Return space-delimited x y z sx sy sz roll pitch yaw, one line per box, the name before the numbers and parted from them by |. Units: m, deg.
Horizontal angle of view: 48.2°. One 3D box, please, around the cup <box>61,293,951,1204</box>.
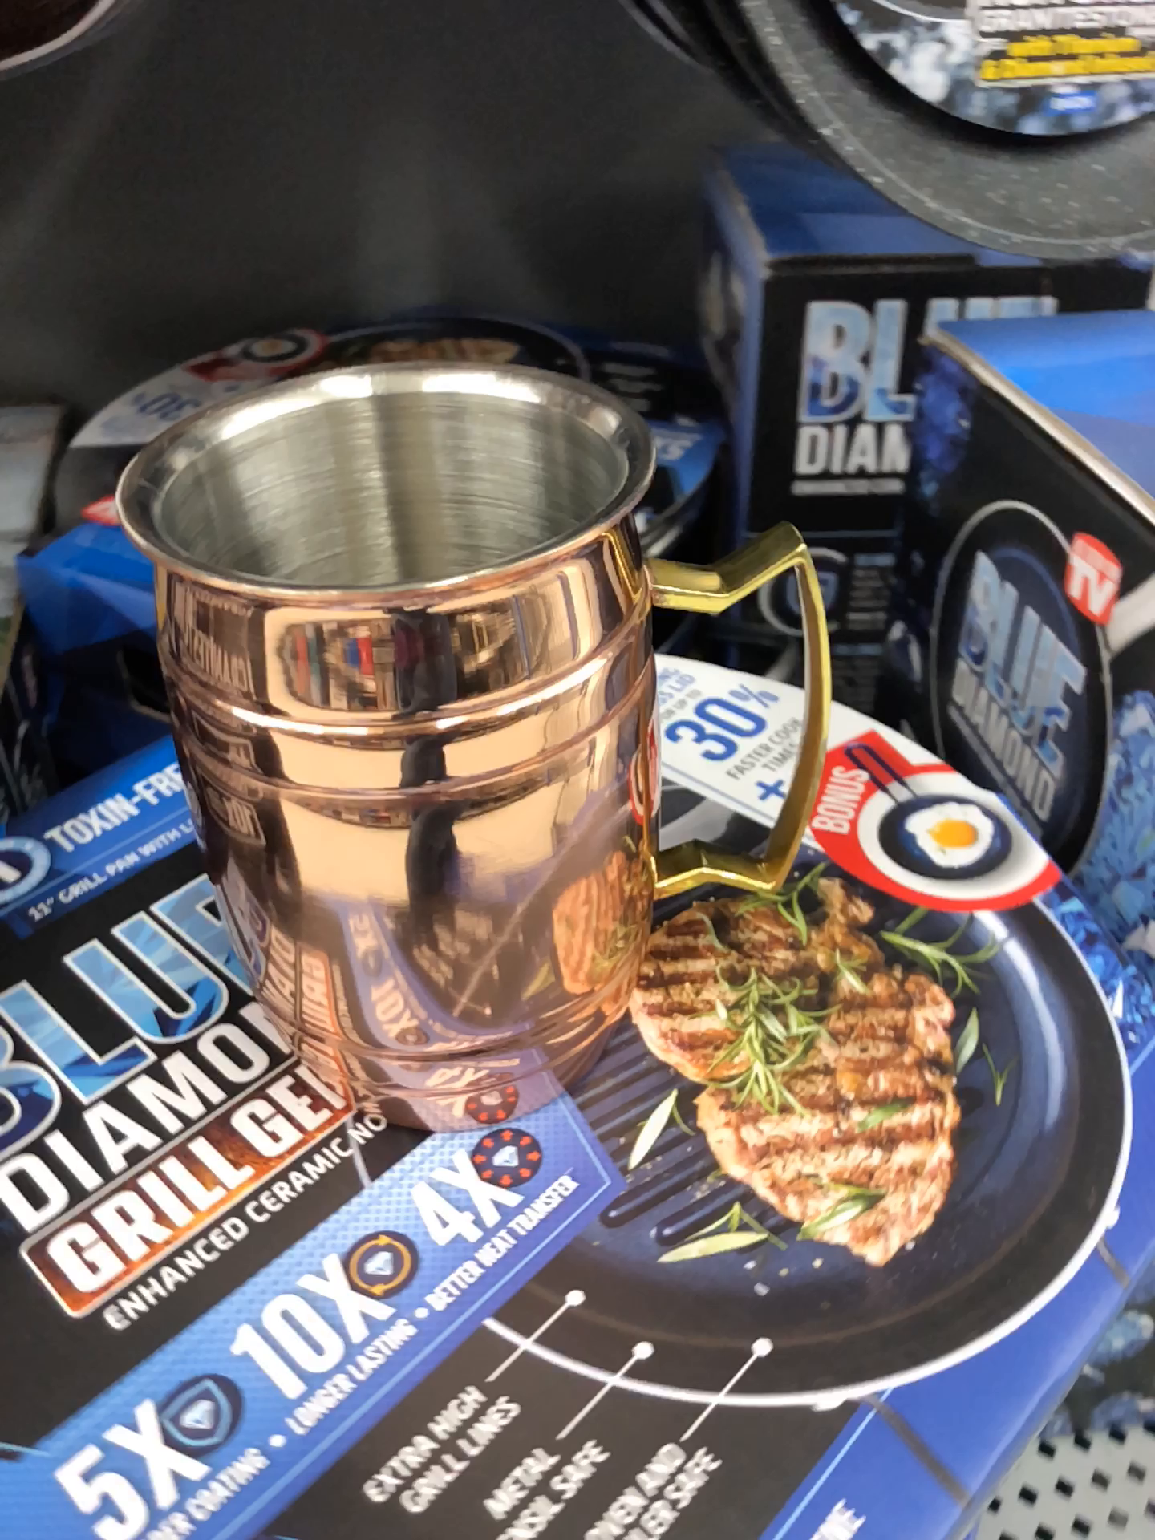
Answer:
cup | -0.015 -0.009 0.256 0.127 0.126 0.087 -16 40 -19
